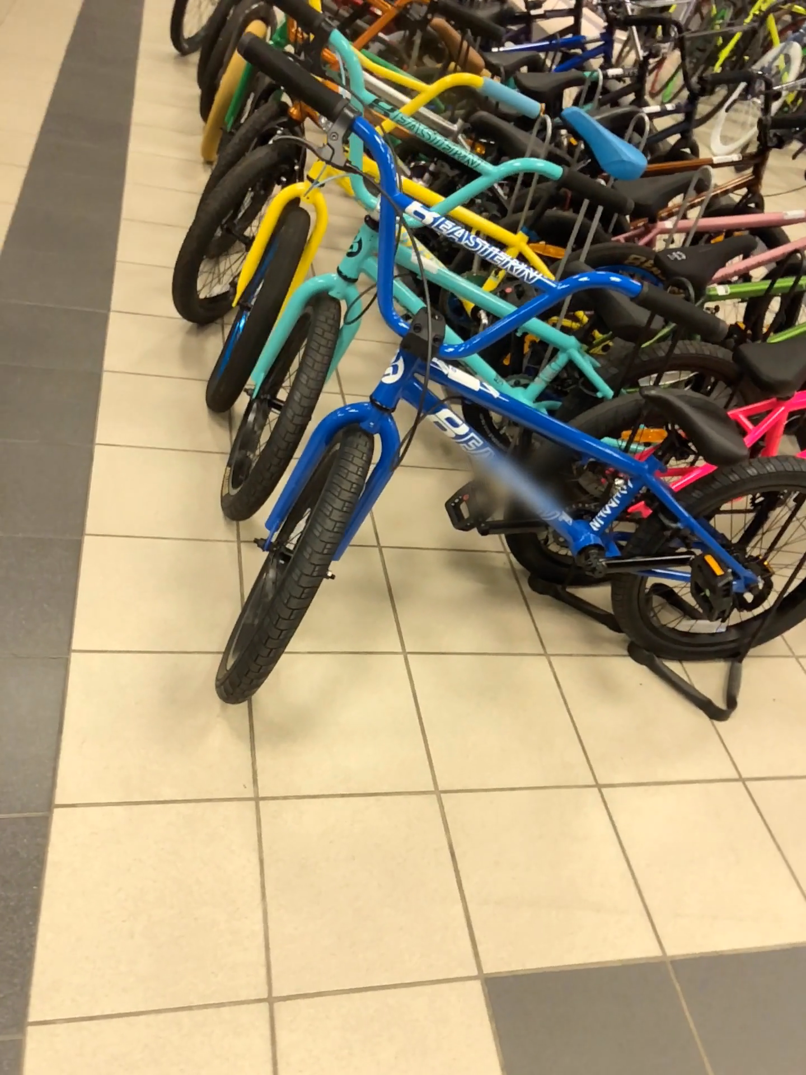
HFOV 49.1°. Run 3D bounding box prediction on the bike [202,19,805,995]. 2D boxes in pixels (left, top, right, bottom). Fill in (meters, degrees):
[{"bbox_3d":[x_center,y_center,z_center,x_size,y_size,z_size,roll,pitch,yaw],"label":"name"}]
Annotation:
[{"bbox_3d":[0.374,-0.077,1.421,1.258,0.960,0.825,-2,42,-24],"label":"bike"}]
